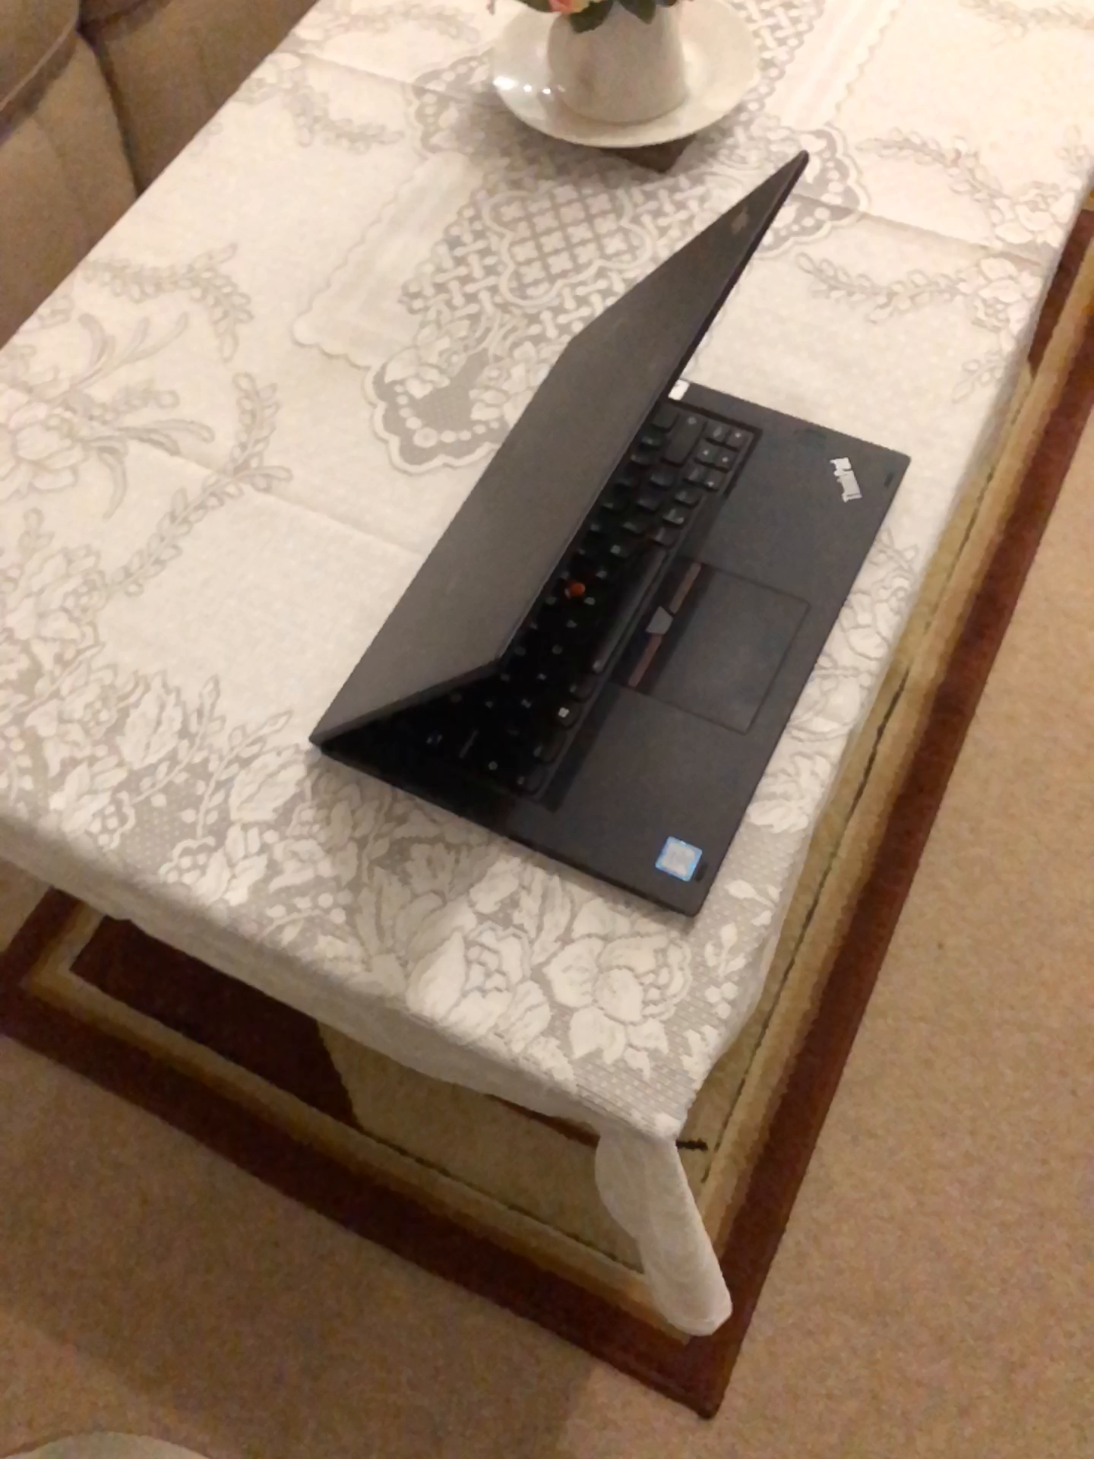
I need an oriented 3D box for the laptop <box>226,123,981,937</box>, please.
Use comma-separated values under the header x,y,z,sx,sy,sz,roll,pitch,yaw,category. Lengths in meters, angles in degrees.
x,y,z,sx,sy,sz,roll,pitch,yaw,category
0.040,-0.104,0.613,0.220,0.174,0.309,24,67,14,laptop
